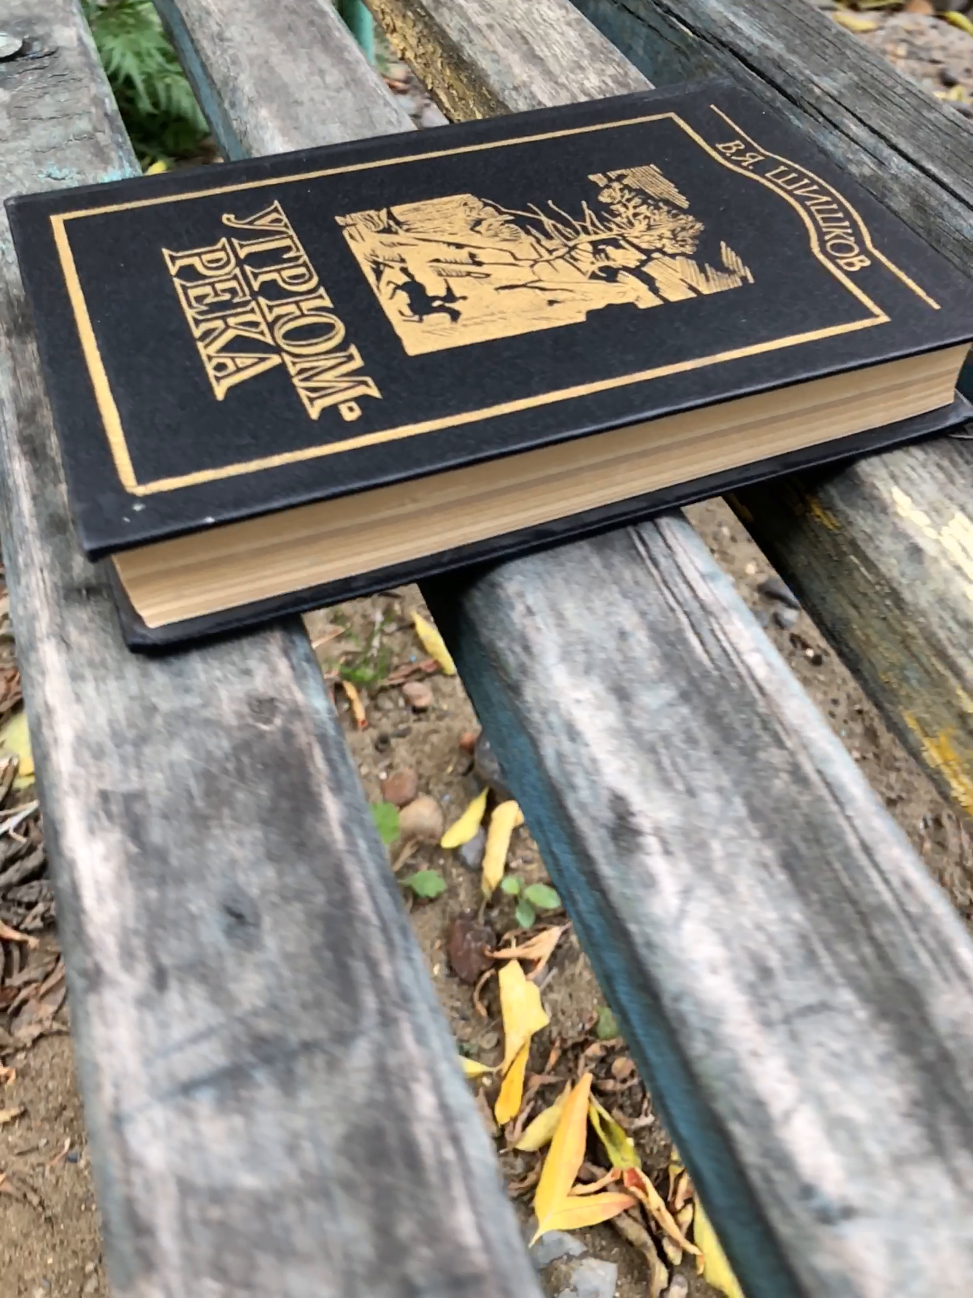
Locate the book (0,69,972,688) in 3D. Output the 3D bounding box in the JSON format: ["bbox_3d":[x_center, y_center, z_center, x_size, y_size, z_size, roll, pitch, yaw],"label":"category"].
[{"bbox_3d":[0.001,-0.081,0.264,0.210,0.030,0.138,-16,55,-15],"label":"book"}]
